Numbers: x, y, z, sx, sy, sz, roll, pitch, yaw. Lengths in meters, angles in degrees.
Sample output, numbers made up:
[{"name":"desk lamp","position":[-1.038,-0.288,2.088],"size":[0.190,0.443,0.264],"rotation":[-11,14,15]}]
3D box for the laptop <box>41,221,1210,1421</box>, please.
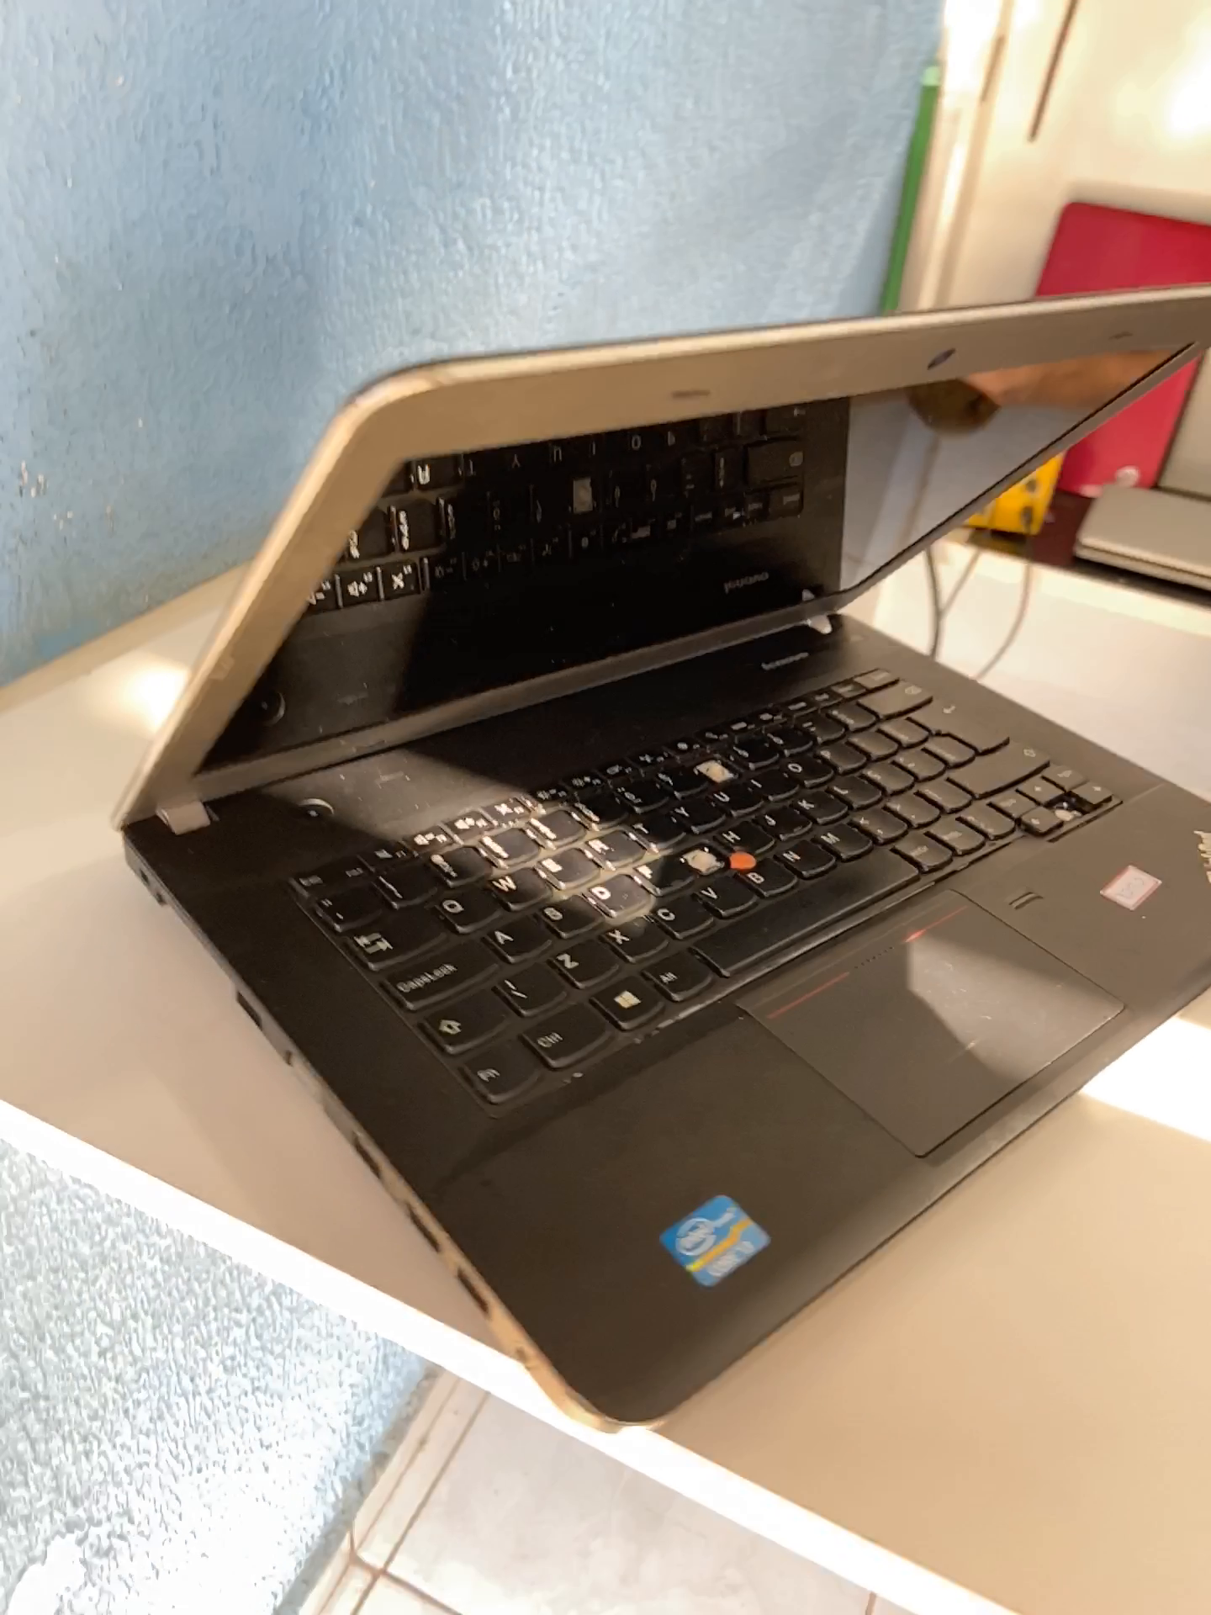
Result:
[{"name":"laptop","position":[0.058,-0.056,0.363],"size":[0.331,0.165,0.231],"rotation":[-21,42,-36]}]
